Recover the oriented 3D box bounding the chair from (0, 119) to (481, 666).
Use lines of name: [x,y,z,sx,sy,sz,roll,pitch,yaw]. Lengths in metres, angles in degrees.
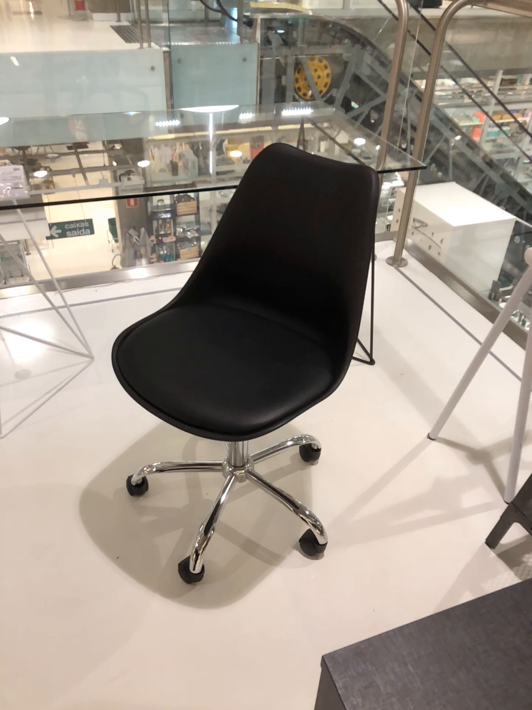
chair: [-0.043,0.027,1.289,0.631,0.824,0.633,24,41,28]
